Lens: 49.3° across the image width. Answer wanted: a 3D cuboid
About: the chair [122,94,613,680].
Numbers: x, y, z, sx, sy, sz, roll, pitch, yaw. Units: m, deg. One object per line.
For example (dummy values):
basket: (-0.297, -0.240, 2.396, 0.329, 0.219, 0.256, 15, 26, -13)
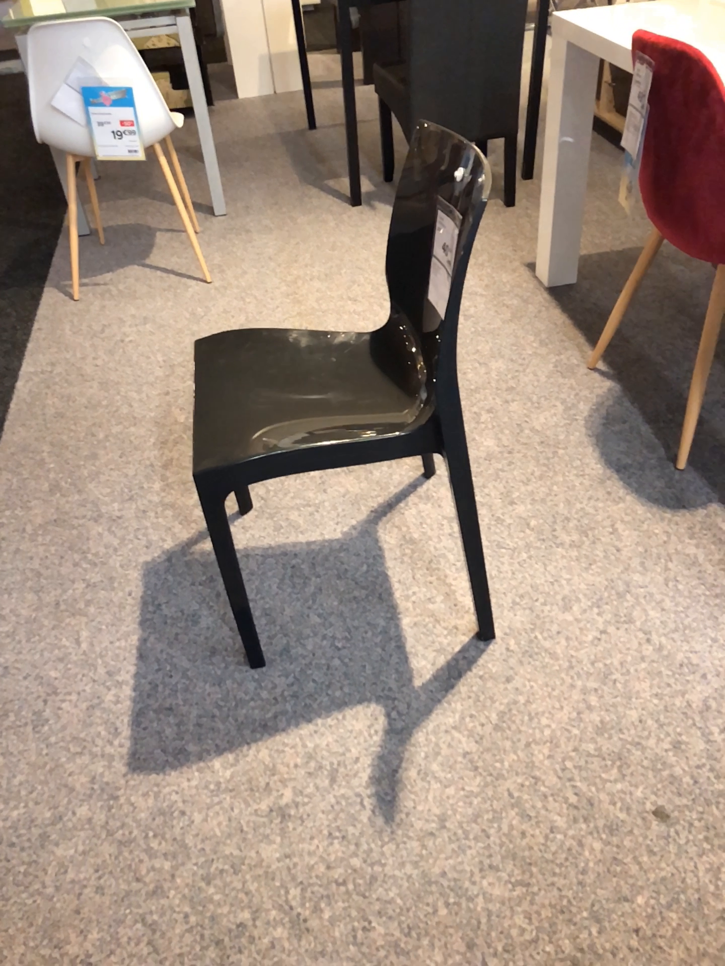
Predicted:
chair: (-0.012, -0.160, 1.344, 0.570, 0.765, 0.523, -8, 40, -6)
